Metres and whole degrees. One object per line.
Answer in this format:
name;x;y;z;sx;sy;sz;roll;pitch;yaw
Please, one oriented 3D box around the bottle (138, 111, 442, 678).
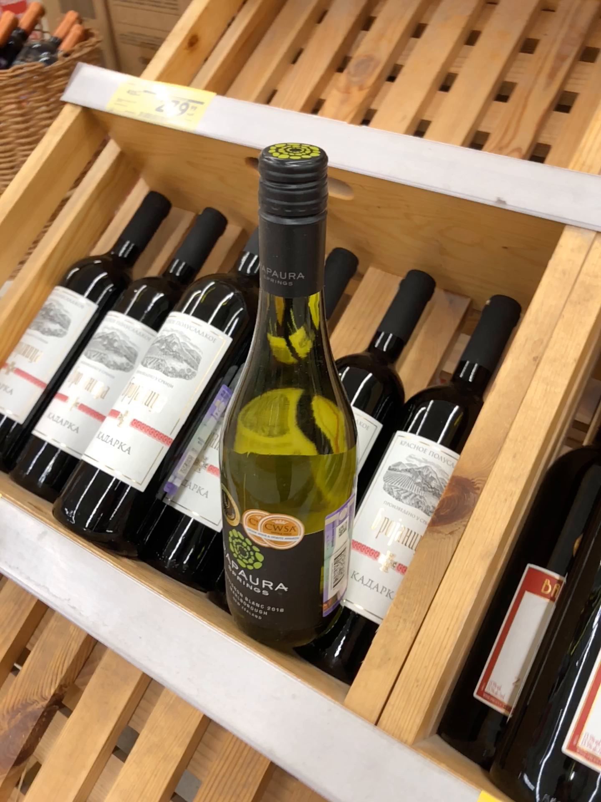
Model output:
bottle;-0.007;0.011;0.362;0.090;0.288;0.090;1;37;-1
